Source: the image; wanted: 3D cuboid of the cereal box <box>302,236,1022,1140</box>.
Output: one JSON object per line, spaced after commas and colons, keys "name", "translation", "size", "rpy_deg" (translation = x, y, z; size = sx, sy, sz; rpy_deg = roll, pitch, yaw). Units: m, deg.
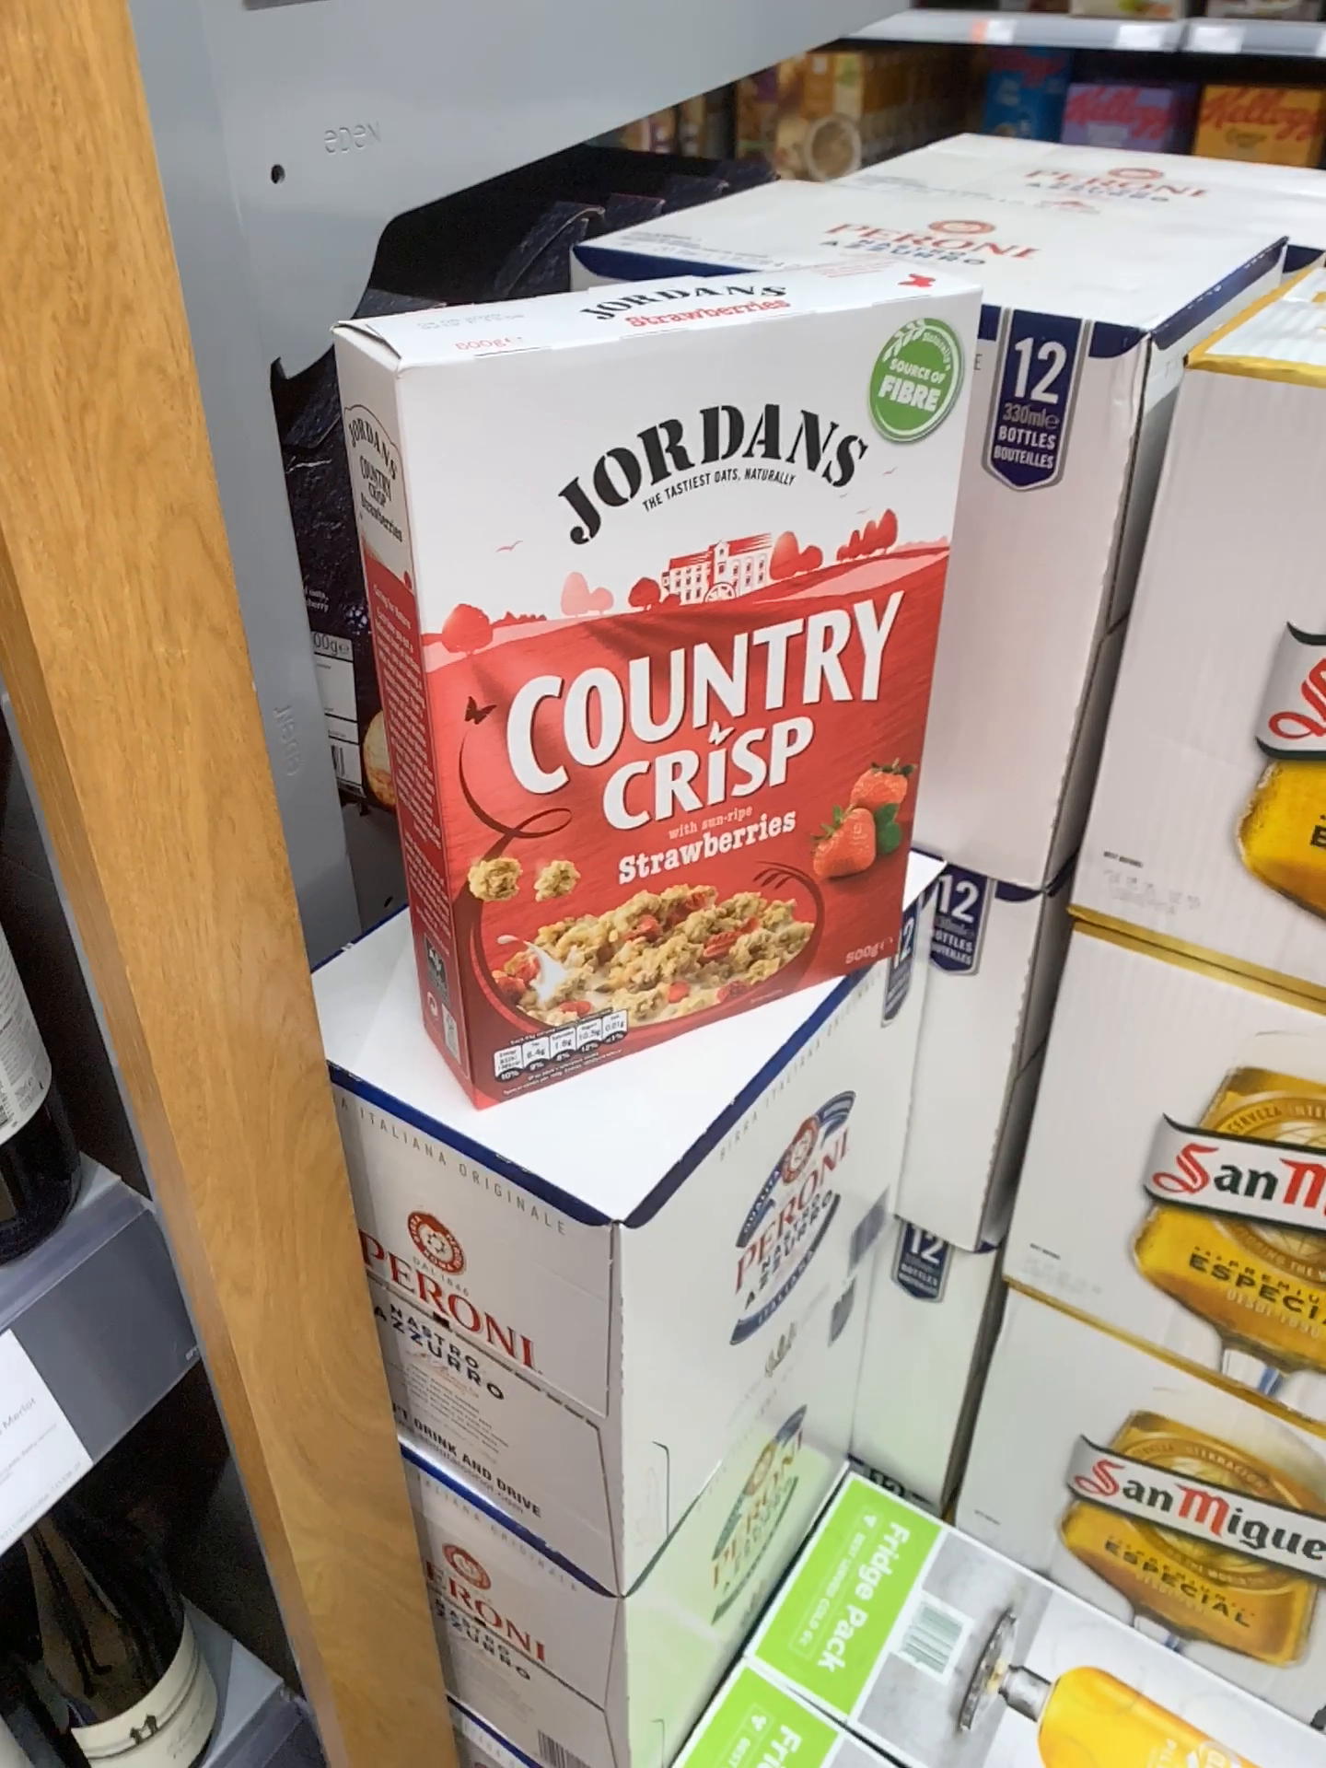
{"name": "cereal box", "translation": [0.005, -0.057, 0.432], "size": [0.190, 0.248, 0.050], "rpy_deg": [-18, 39, -23]}
